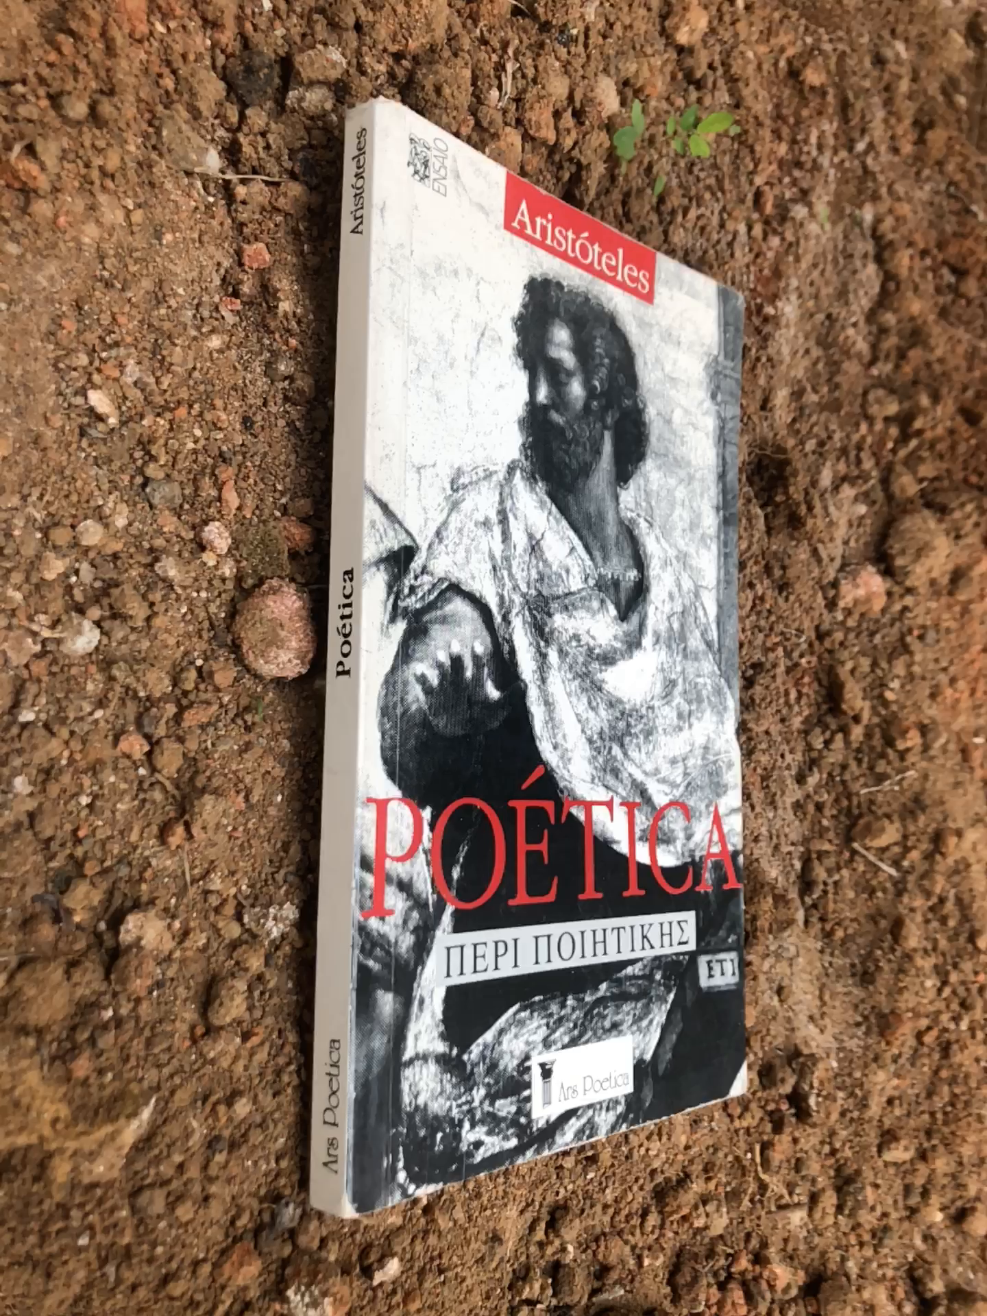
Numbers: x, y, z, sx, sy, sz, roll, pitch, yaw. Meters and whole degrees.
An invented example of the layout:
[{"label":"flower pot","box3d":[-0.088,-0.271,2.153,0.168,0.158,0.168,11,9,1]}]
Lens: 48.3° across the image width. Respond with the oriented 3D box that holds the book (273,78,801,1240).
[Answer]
[{"label":"book","box3d":[0.020,0.001,0.227,0.131,0.015,0.189,7,81,-42]}]
